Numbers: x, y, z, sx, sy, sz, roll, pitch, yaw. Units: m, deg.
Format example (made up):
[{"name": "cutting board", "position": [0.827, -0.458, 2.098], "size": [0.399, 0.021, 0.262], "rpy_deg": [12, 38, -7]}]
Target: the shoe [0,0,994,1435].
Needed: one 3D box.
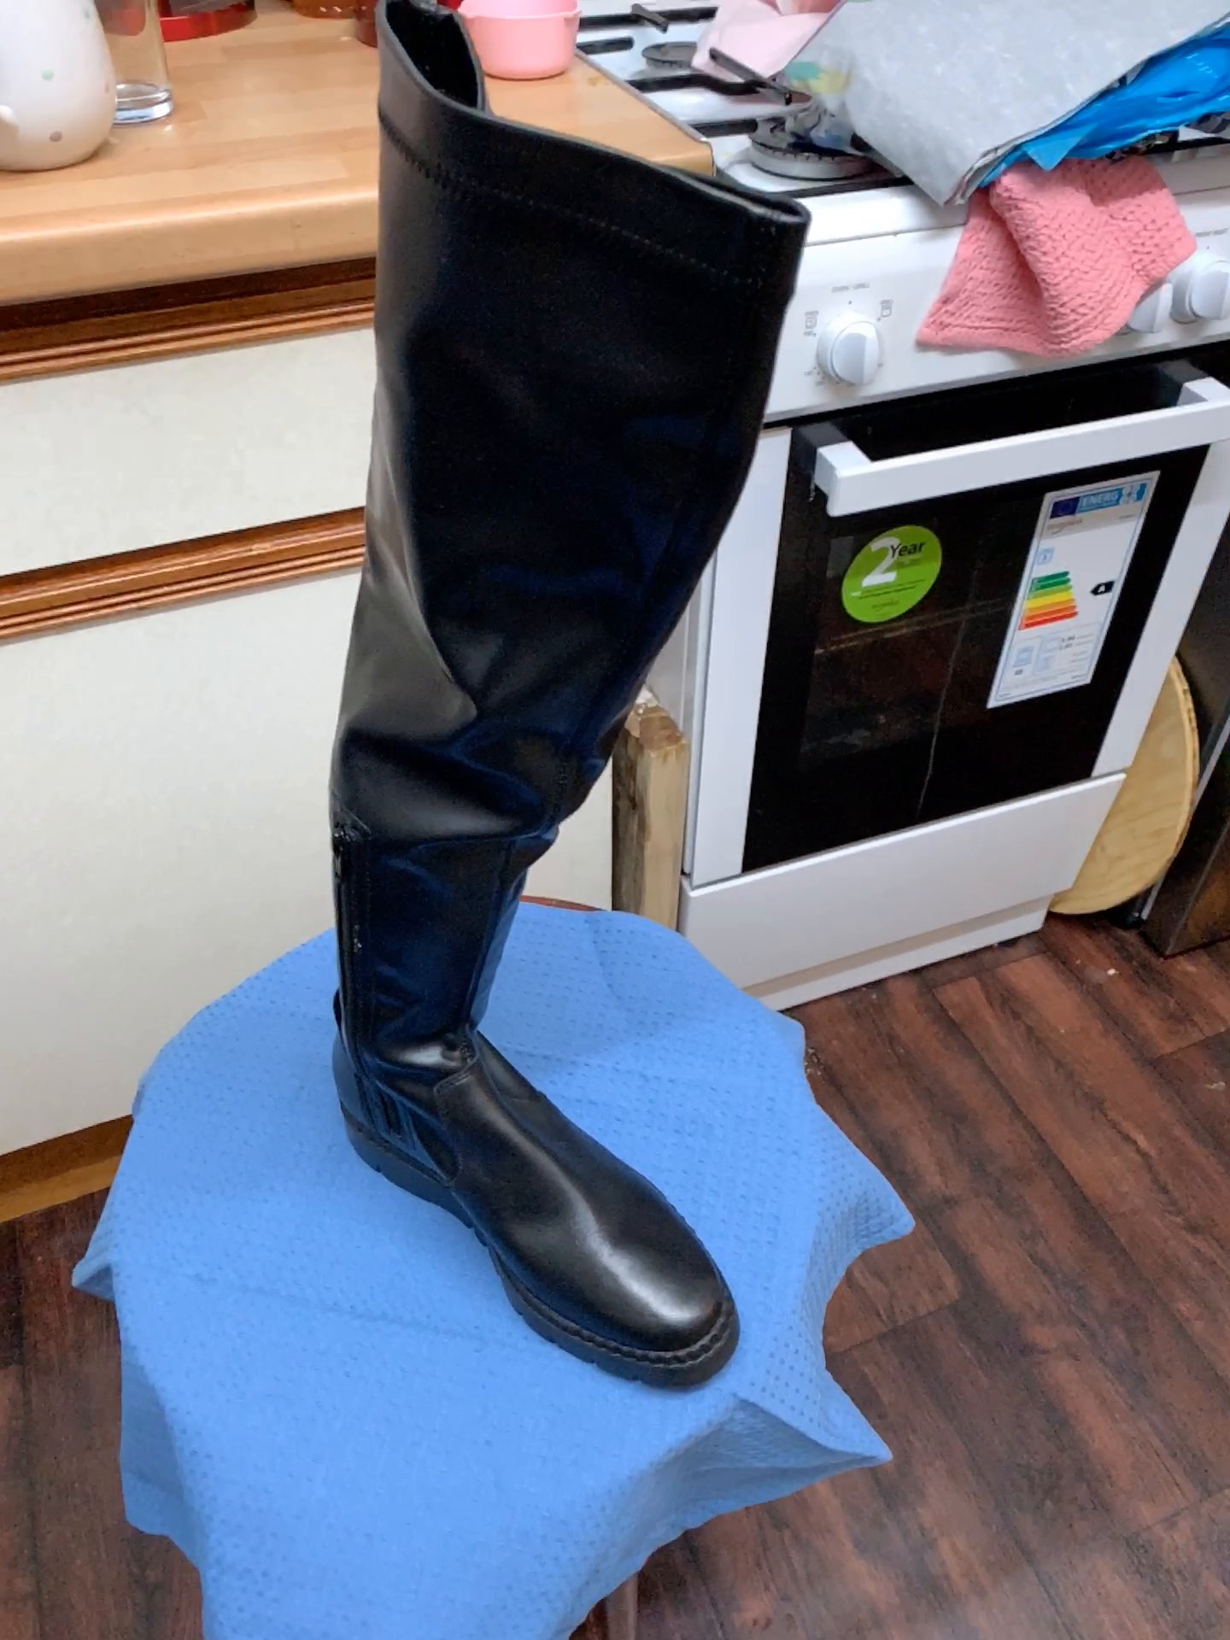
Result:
[{"name": "shoe", "position": [-0.050, 0.003, 0.499], "size": [0.272, 0.535, 0.107], "rpy_deg": [27, 49, 27]}]
